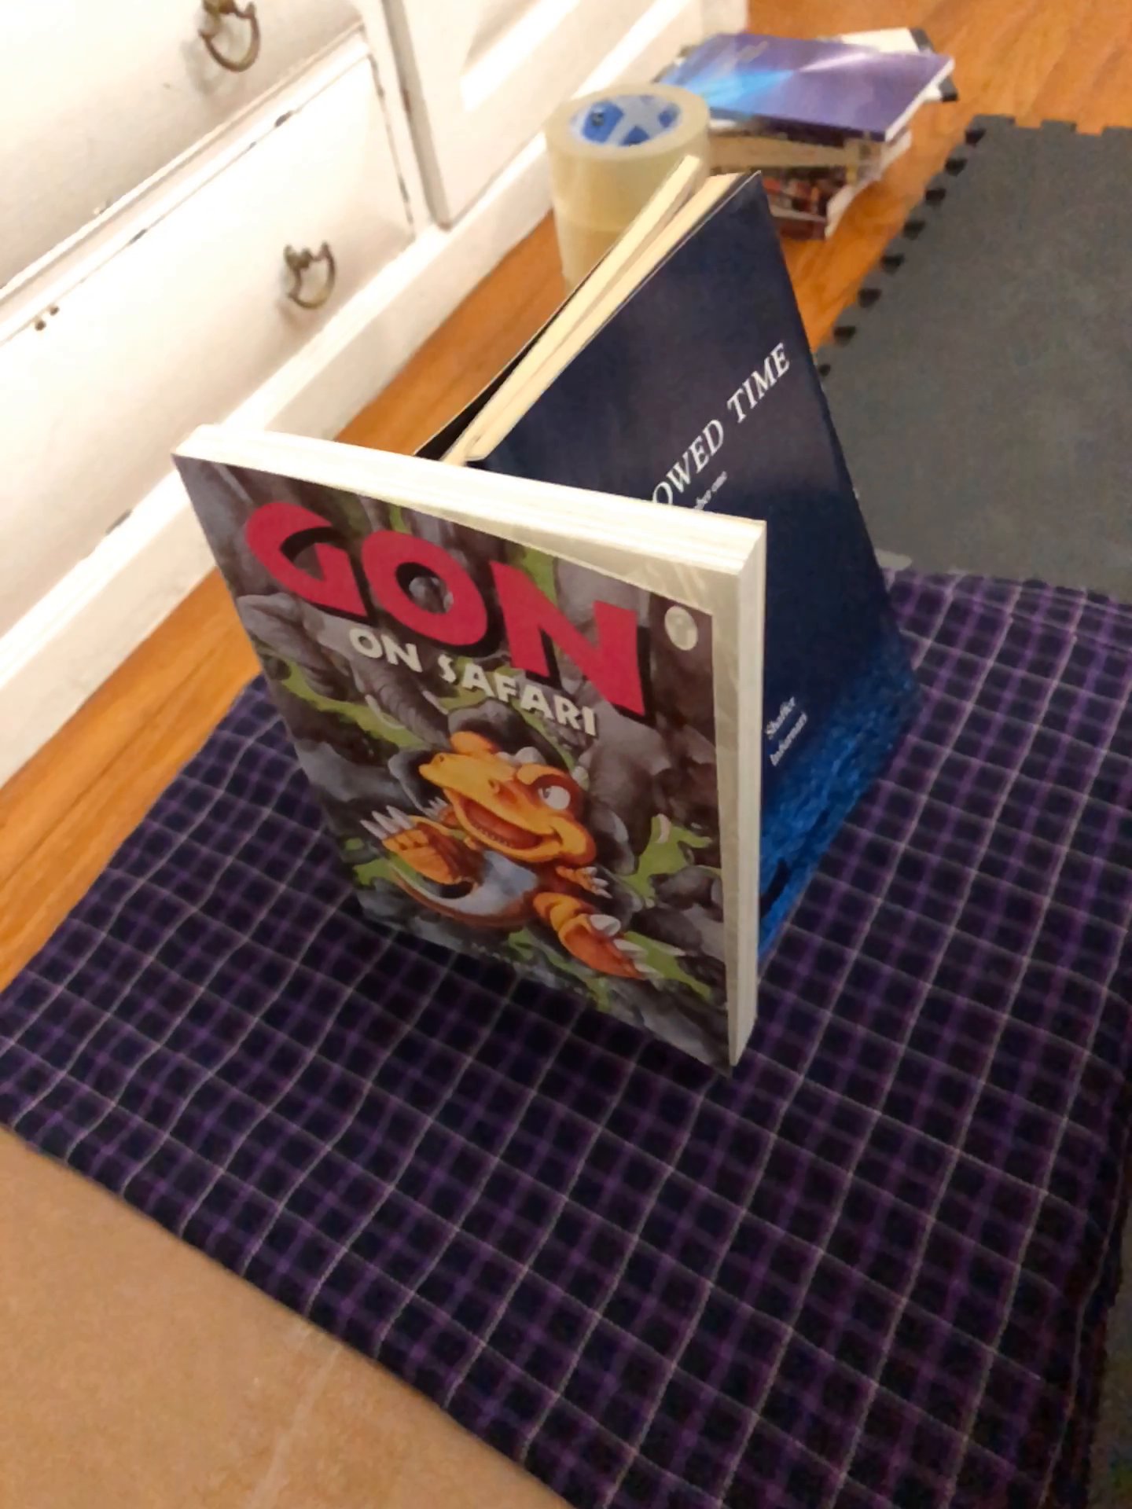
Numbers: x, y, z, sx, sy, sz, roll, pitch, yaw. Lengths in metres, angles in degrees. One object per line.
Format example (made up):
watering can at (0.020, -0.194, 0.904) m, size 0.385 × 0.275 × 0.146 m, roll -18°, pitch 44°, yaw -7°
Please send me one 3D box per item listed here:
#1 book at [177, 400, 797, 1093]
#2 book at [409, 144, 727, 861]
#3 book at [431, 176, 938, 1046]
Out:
book at (-0.013, 0.007, 0.332) m, size 0.140 × 0.189 × 0.020 m, roll 16°, pitch 48°, yaw 22°
book at (-0.006, -0.066, 0.397) m, size 0.010 × 0.199 × 0.141 m, roll 27°, pitch 59°, yaw 7°
book at (0.053, -0.036, 0.365) m, size 0.010 × 0.199 × 0.151 m, roll 4°, pitch 47°, yaw 40°
